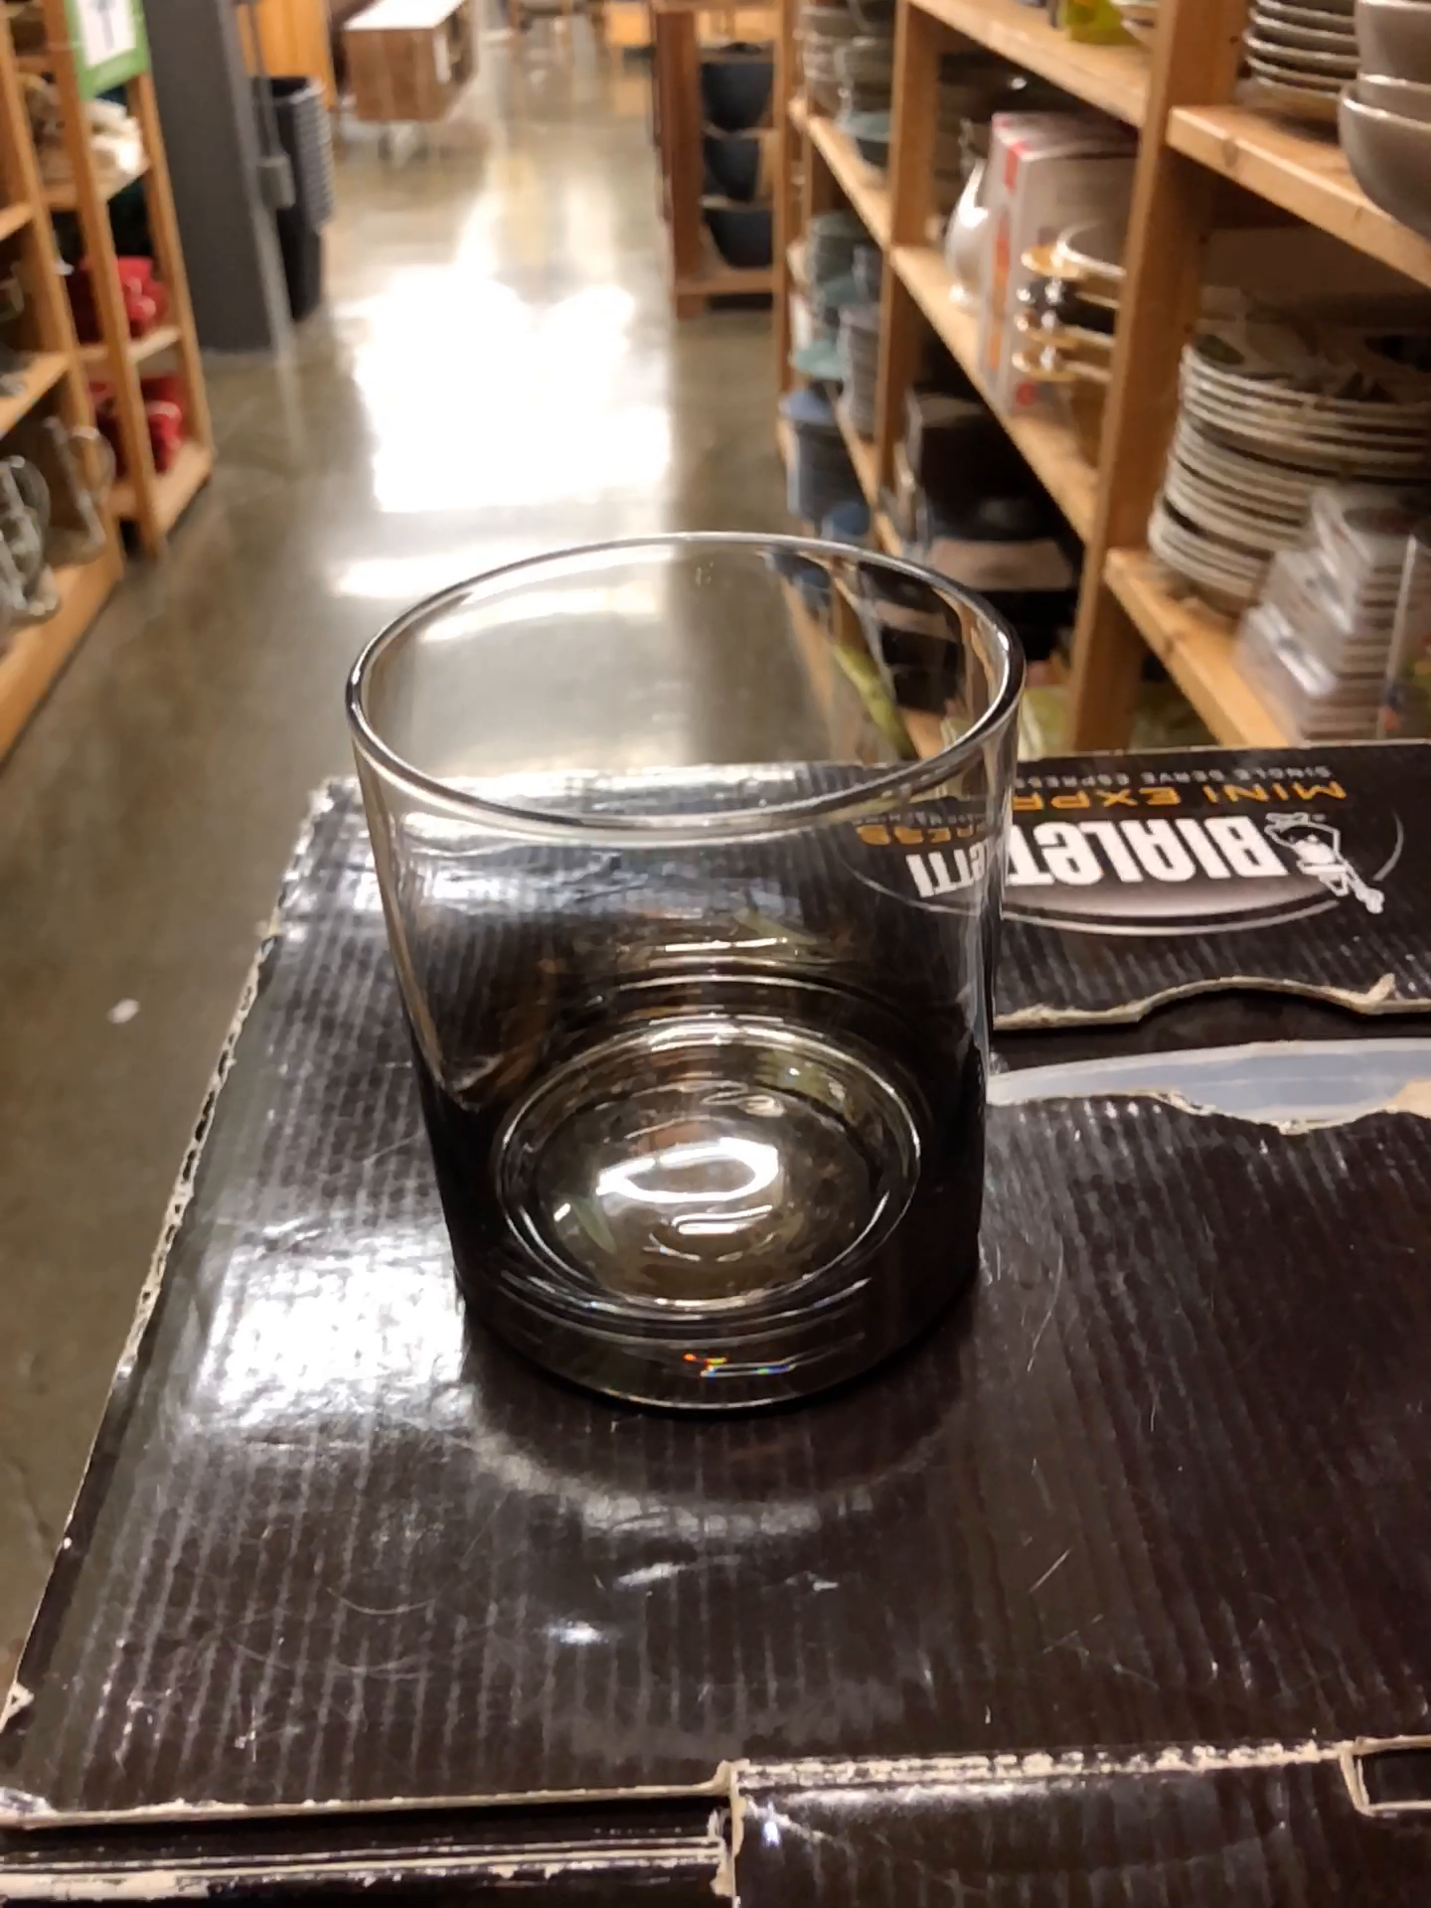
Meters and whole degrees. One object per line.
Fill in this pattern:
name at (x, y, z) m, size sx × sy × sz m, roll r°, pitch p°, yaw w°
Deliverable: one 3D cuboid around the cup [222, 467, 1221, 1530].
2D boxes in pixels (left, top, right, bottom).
cup at (-0.001, -0.002, 0.222) m, size 0.089 × 0.093 × 0.086 m, roll -1°, pitch 35°, yaw 1°
